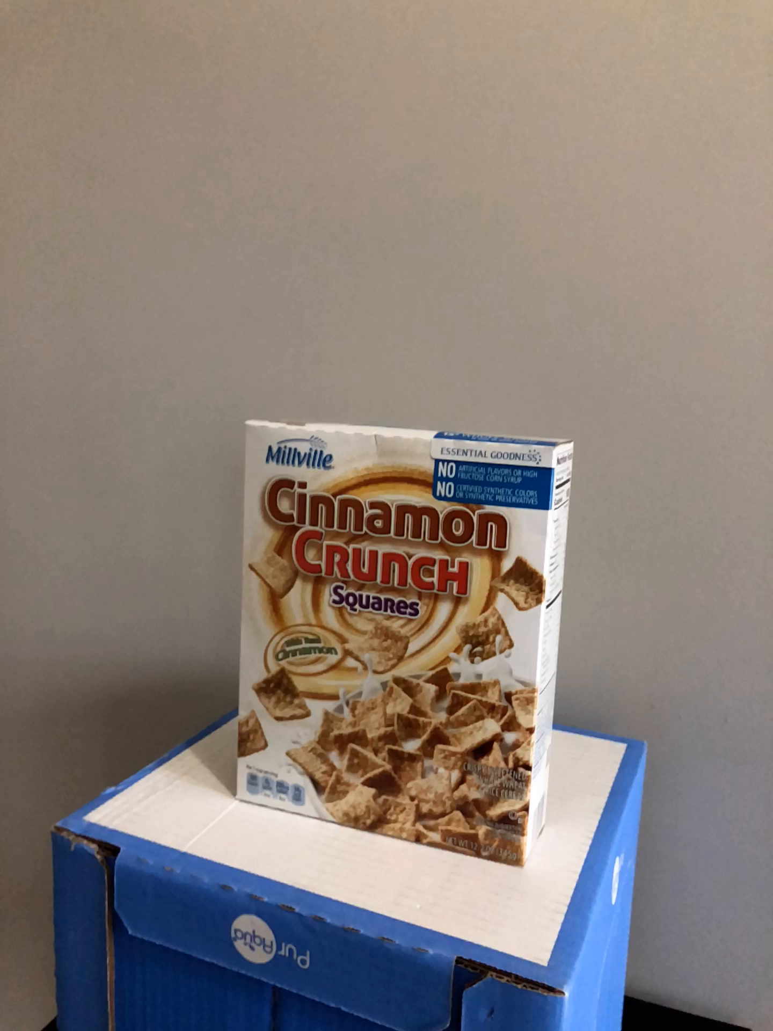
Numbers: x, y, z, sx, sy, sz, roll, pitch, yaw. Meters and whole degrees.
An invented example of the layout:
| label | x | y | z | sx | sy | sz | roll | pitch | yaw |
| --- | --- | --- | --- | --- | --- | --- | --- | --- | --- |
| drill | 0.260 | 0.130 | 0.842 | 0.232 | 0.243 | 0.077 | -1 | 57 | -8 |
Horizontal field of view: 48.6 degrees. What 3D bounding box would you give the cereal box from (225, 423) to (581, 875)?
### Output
| label | x | y | z | sx | sy | sz | roll | pitch | yaw |
| --- | --- | --- | --- | --- | --- | --- | --- | --- | --- |
| cereal box | 0.005 | 0.074 | 0.553 | 0.210 | 0.250 | 0.070 | 6 | 10 | 21 |
